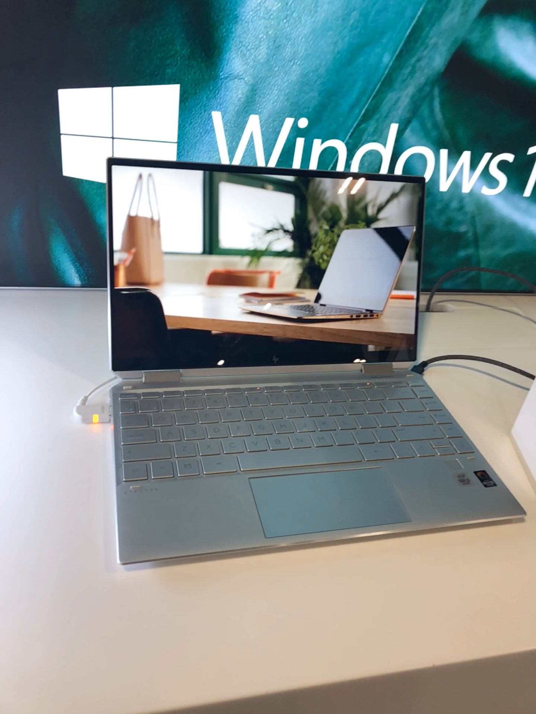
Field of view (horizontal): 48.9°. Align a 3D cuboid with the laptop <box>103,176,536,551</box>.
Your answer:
[{"bbox_3d":[0.028,-0.013,0.446,0.281,0.194,0.241,-1,27,-17],"label":"laptop"}]
